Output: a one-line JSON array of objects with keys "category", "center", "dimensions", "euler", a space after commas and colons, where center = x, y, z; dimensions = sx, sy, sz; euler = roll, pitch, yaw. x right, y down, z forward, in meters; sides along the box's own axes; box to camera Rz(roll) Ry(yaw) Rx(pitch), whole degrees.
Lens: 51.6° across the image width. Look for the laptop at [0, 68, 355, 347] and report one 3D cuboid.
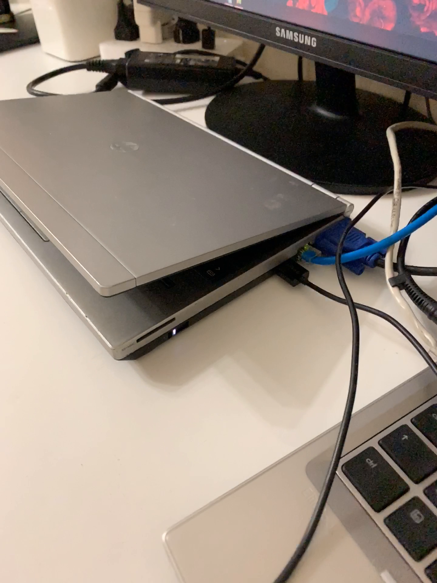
[{"category": "laptop", "center": [-0.072, -0.101, 0.352], "dimensions": [0.183, 0.029, 0.294], "euler": [-30, 49, -24]}]
